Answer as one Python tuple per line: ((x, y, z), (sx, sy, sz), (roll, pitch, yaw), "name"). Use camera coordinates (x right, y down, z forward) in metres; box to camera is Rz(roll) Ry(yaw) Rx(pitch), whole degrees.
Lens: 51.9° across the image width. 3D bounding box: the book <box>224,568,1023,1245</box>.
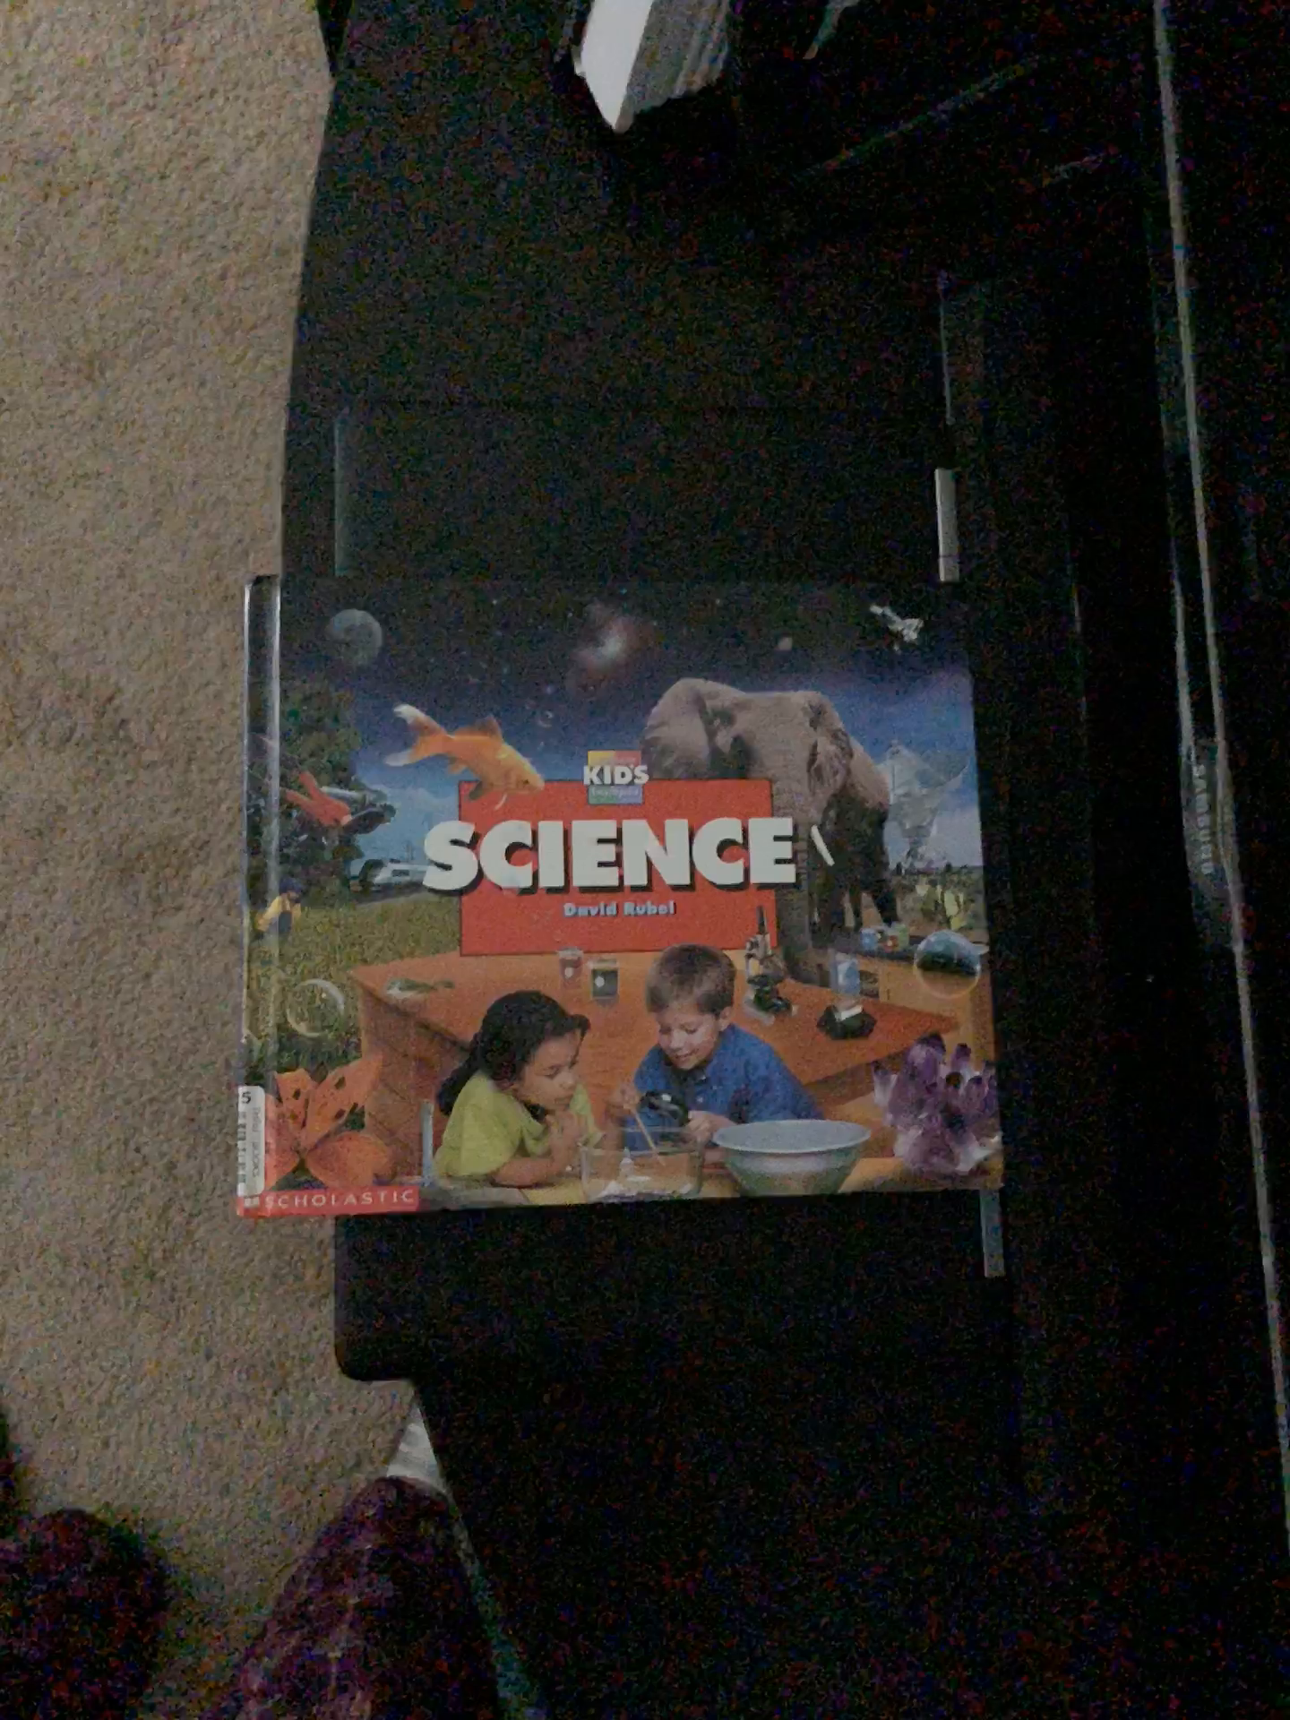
((-0.008, 0.012, 0.495), (0.280, 0.030, 0.240), (-1, 82, -5), "book")
